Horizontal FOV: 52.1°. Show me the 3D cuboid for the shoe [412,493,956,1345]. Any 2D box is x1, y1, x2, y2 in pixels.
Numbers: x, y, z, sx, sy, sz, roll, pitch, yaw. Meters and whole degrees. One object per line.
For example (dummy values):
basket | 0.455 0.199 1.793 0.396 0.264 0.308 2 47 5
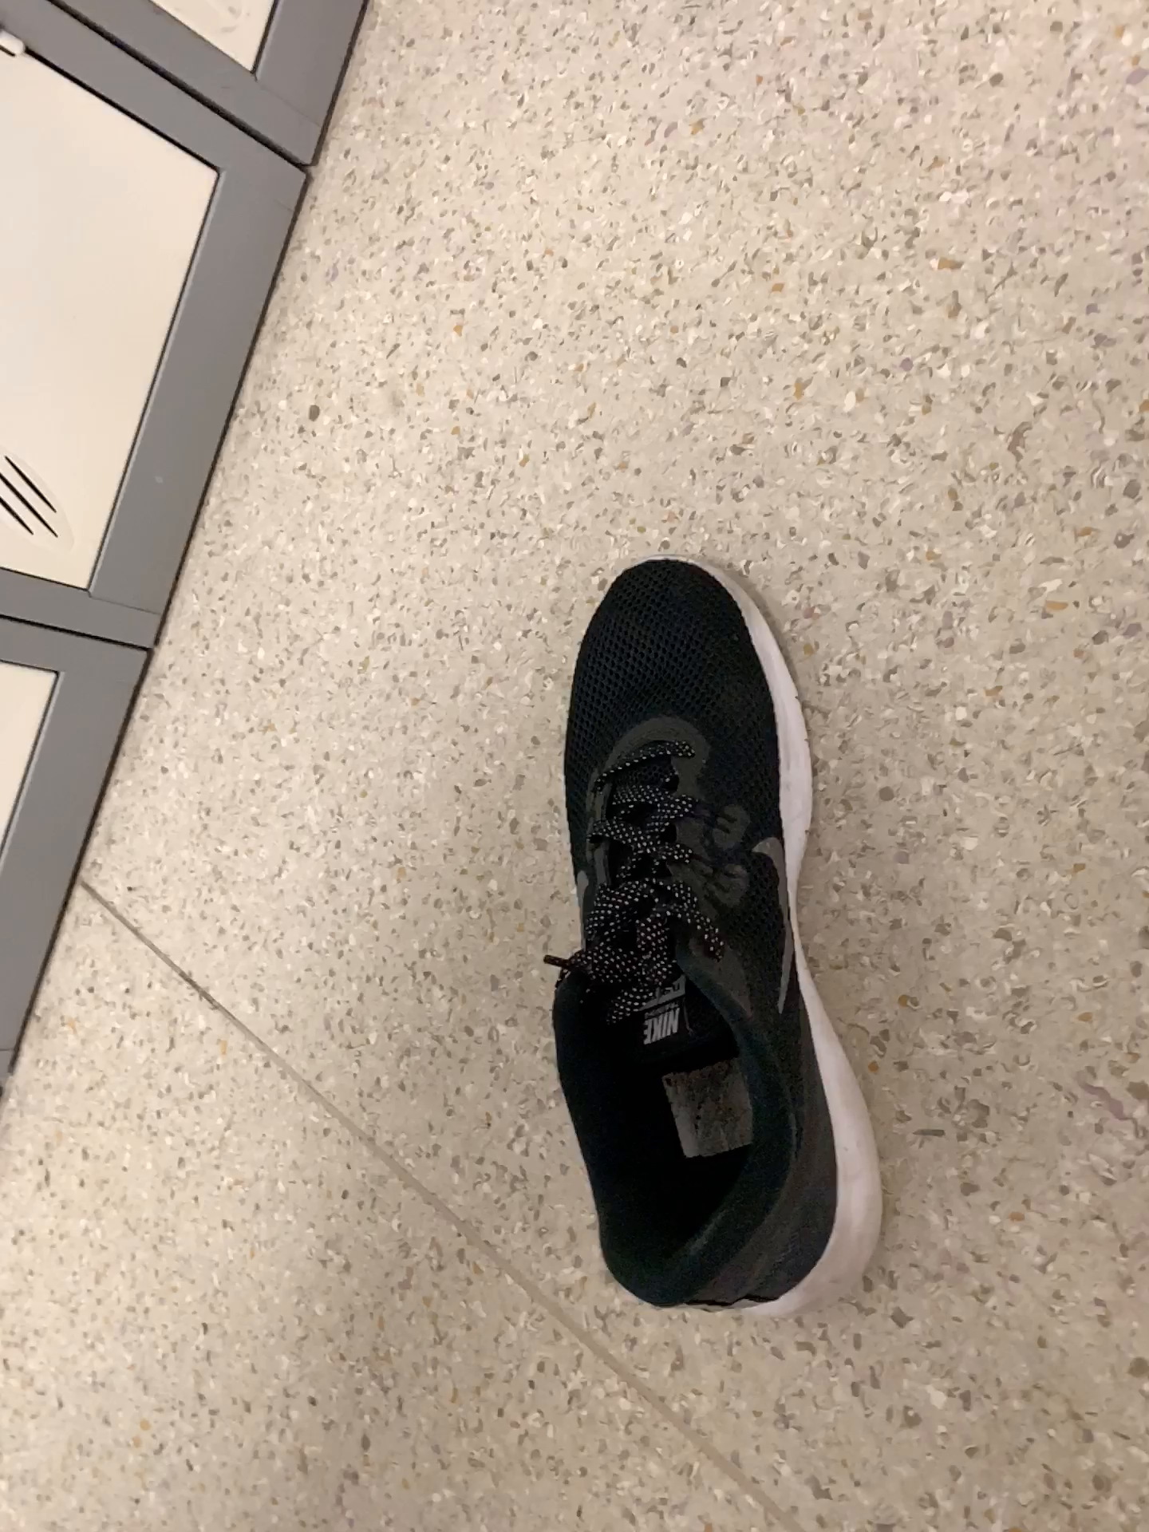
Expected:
shoe | 0.031 0.053 0.414 0.113 0.093 0.253 -22 68 33
